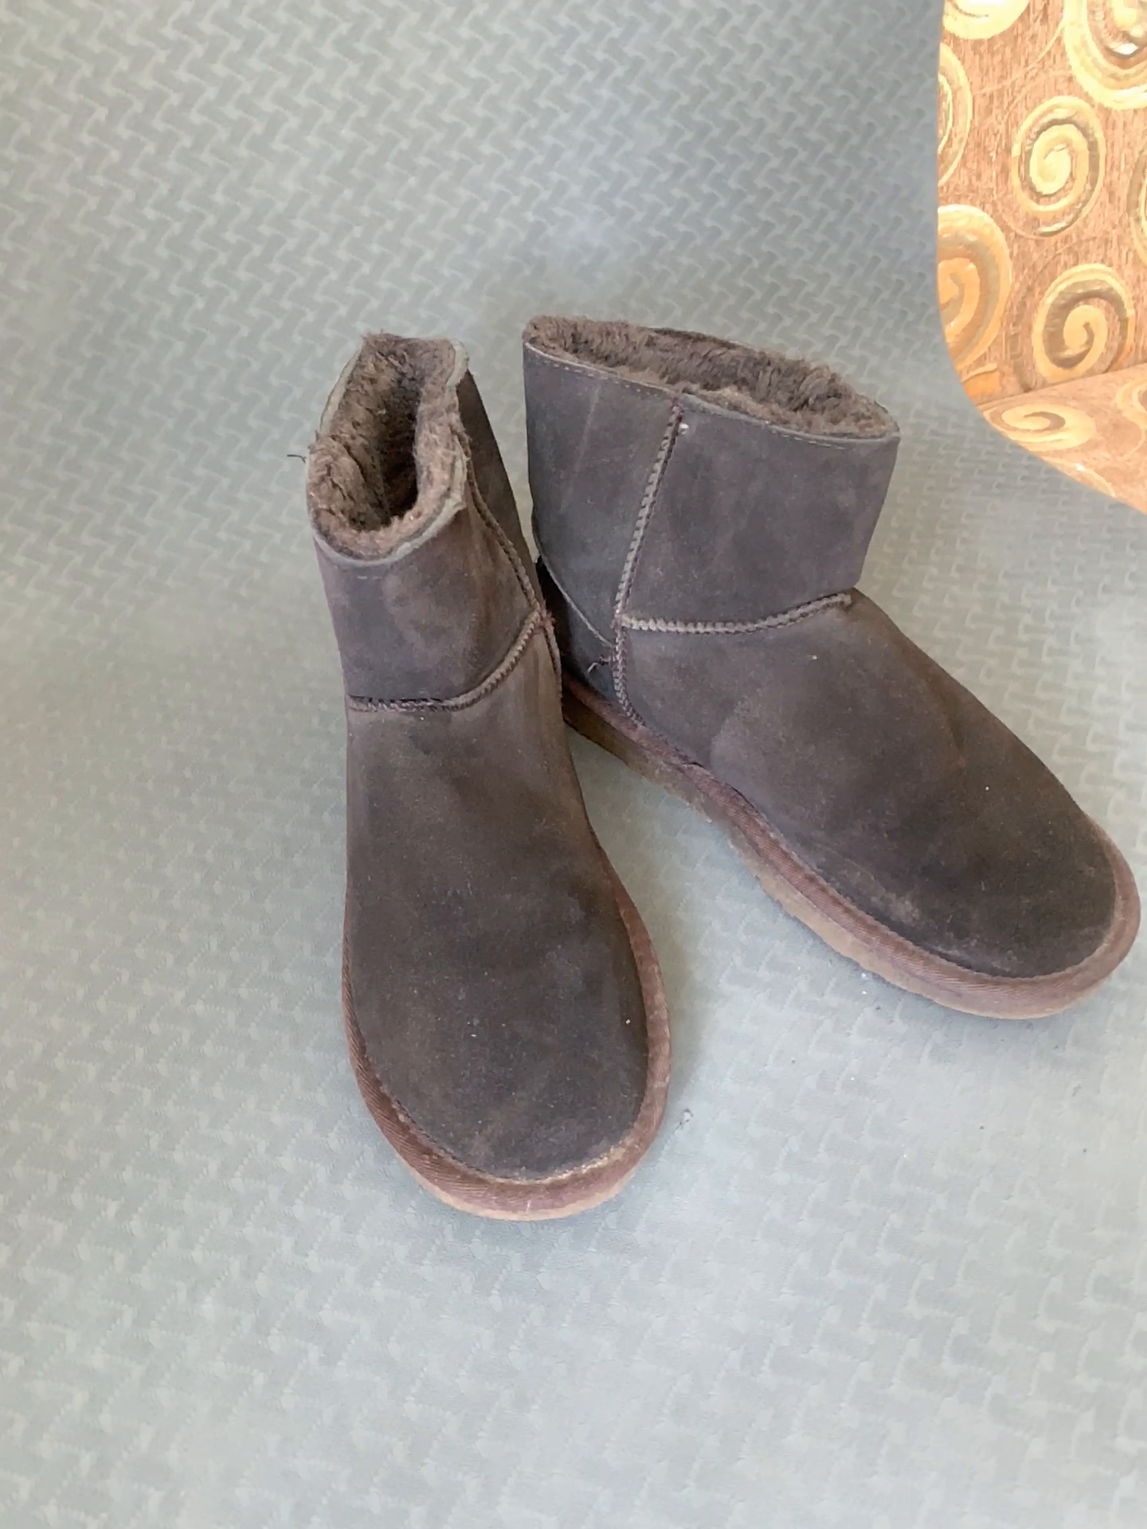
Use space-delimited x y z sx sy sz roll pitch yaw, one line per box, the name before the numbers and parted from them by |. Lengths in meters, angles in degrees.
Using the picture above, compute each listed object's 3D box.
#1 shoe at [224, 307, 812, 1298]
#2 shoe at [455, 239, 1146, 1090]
shoe | -0.032 -0.004 0.354 0.100 0.139 0.254 -11 50 -9
shoe | 0.086 -0.044 0.384 0.100 0.139 0.254 -35 57 -26
